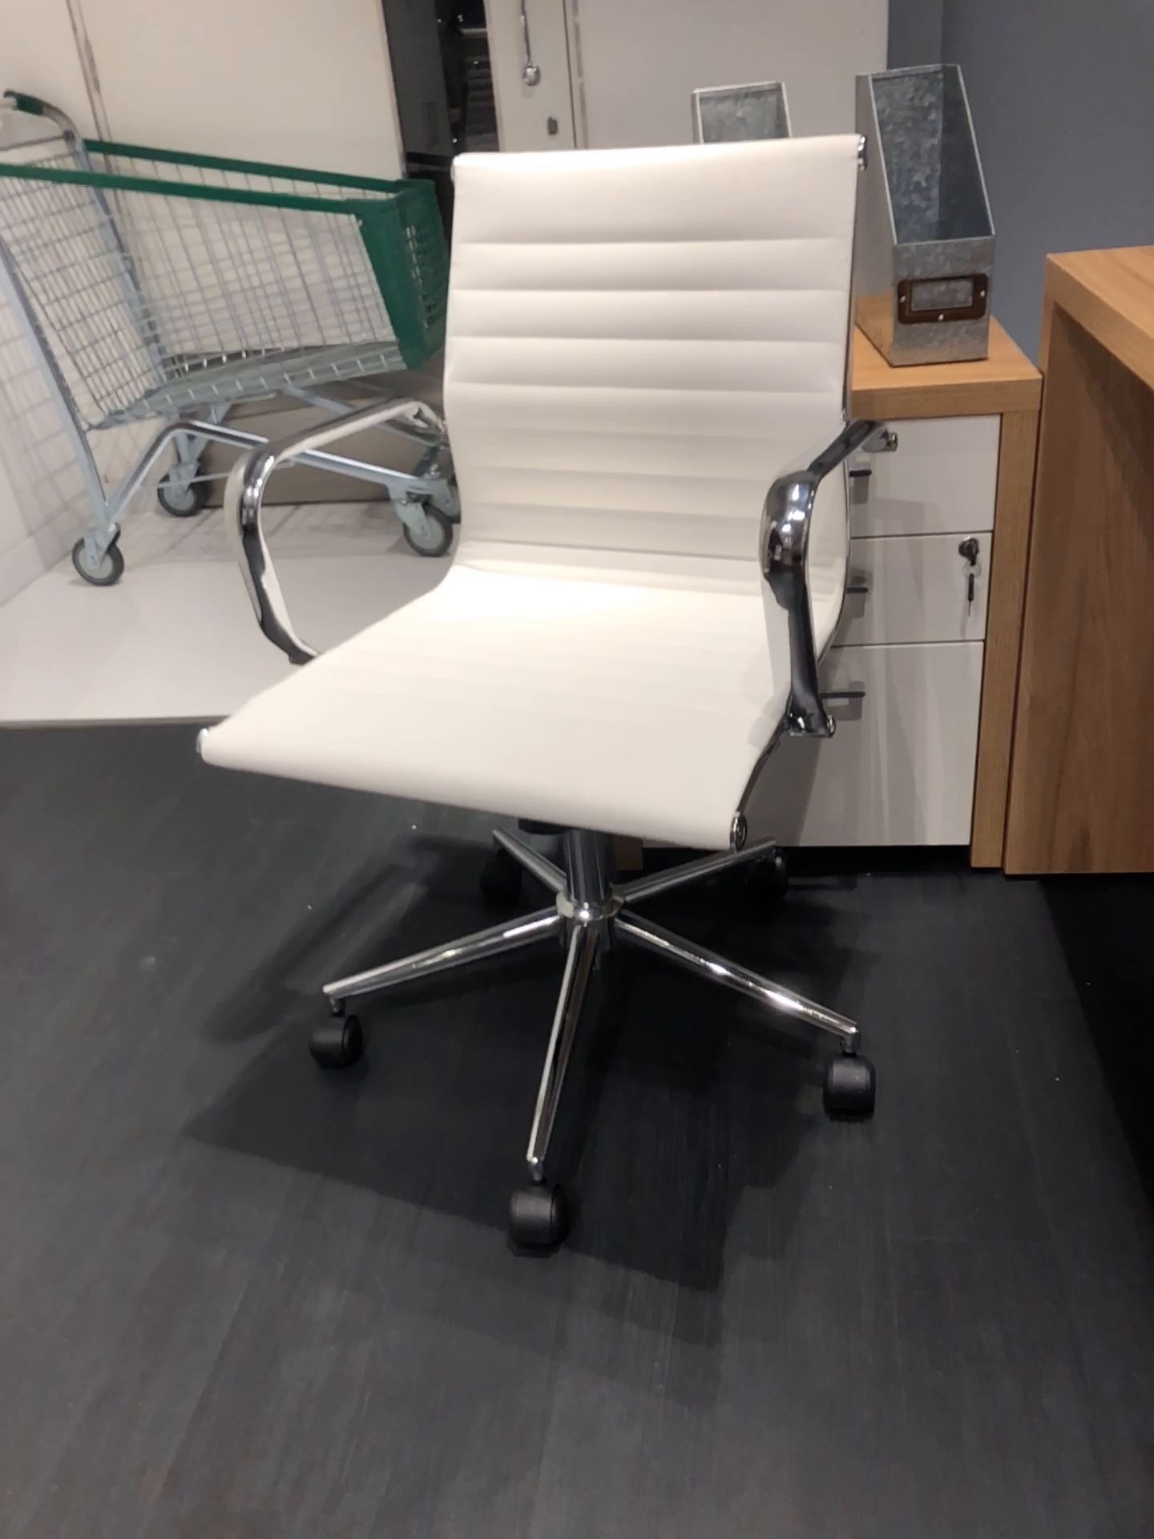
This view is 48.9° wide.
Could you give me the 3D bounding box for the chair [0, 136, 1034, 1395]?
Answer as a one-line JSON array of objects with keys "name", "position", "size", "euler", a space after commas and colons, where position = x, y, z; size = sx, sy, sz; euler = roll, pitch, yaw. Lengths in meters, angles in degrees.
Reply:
[{"name": "chair", "position": [0.042, -0.083, 1.344], "size": [0.651, 0.953, 0.764], "euler": [9, 32, 25]}]
